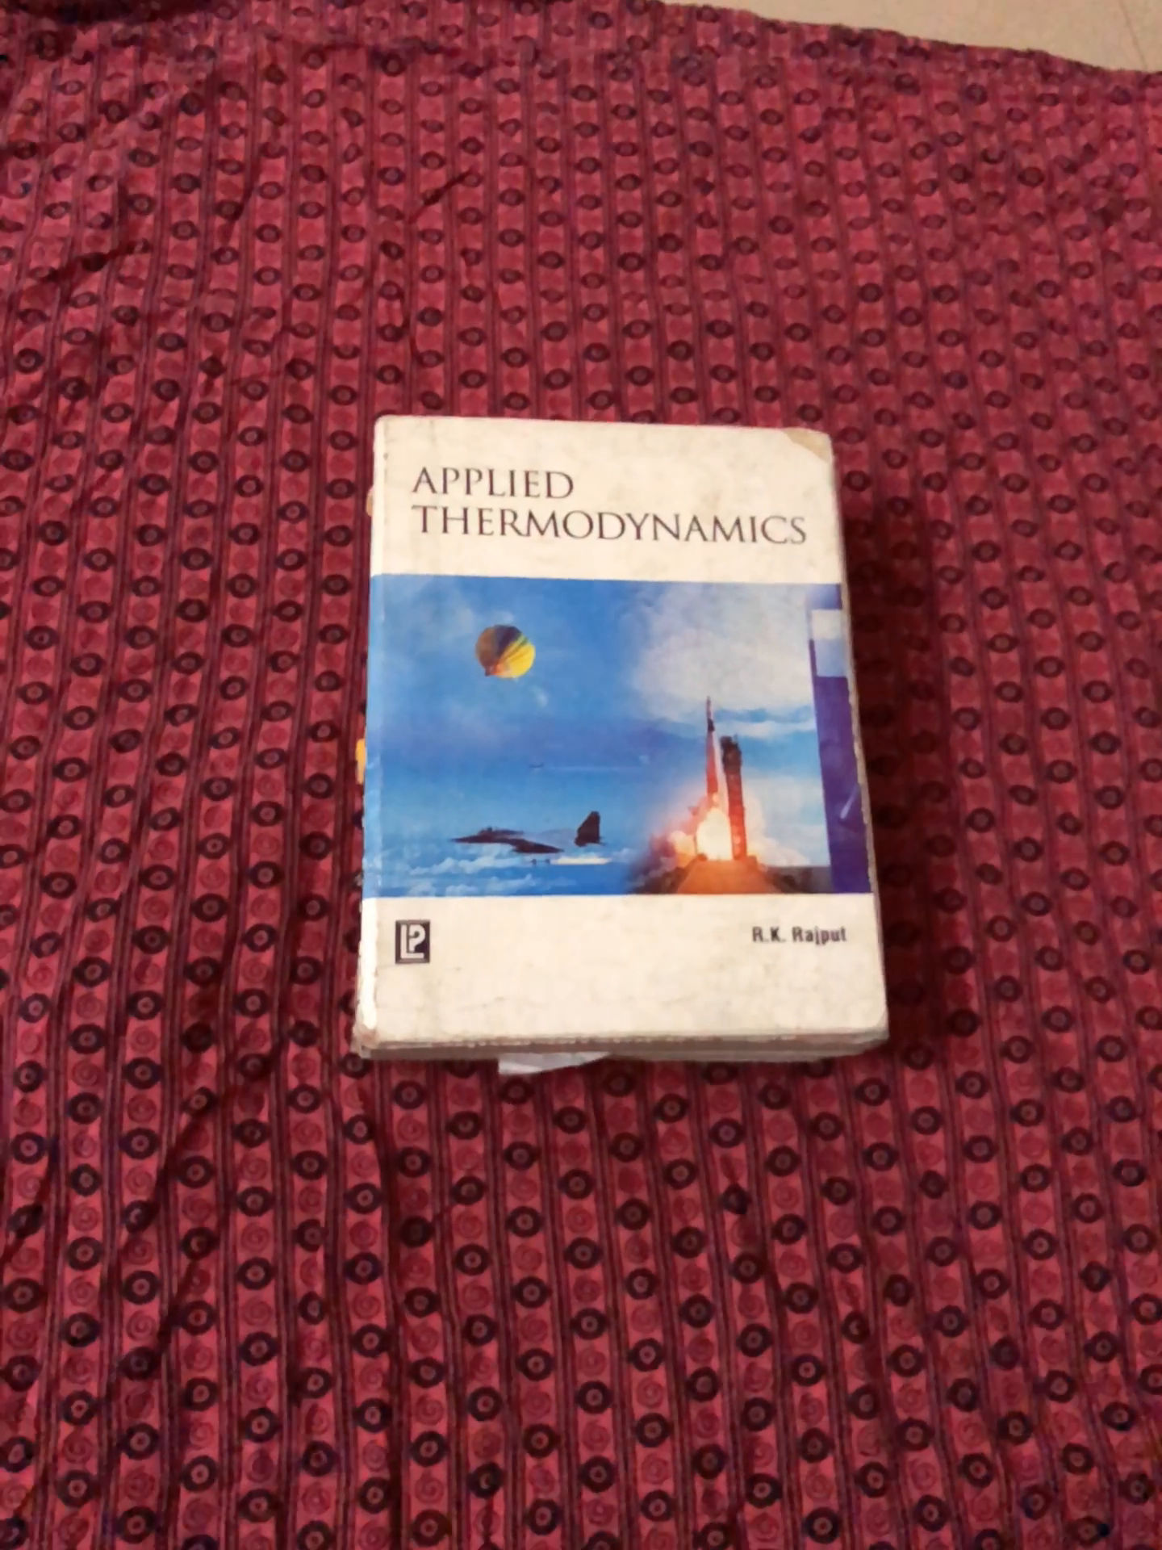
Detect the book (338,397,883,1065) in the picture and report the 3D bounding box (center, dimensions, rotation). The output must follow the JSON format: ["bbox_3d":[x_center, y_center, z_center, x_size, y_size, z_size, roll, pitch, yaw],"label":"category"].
[{"bbox_3d":[0.006,-0.018,0.486,0.178,0.060,0.240,1,71,-6],"label":"book"}]
